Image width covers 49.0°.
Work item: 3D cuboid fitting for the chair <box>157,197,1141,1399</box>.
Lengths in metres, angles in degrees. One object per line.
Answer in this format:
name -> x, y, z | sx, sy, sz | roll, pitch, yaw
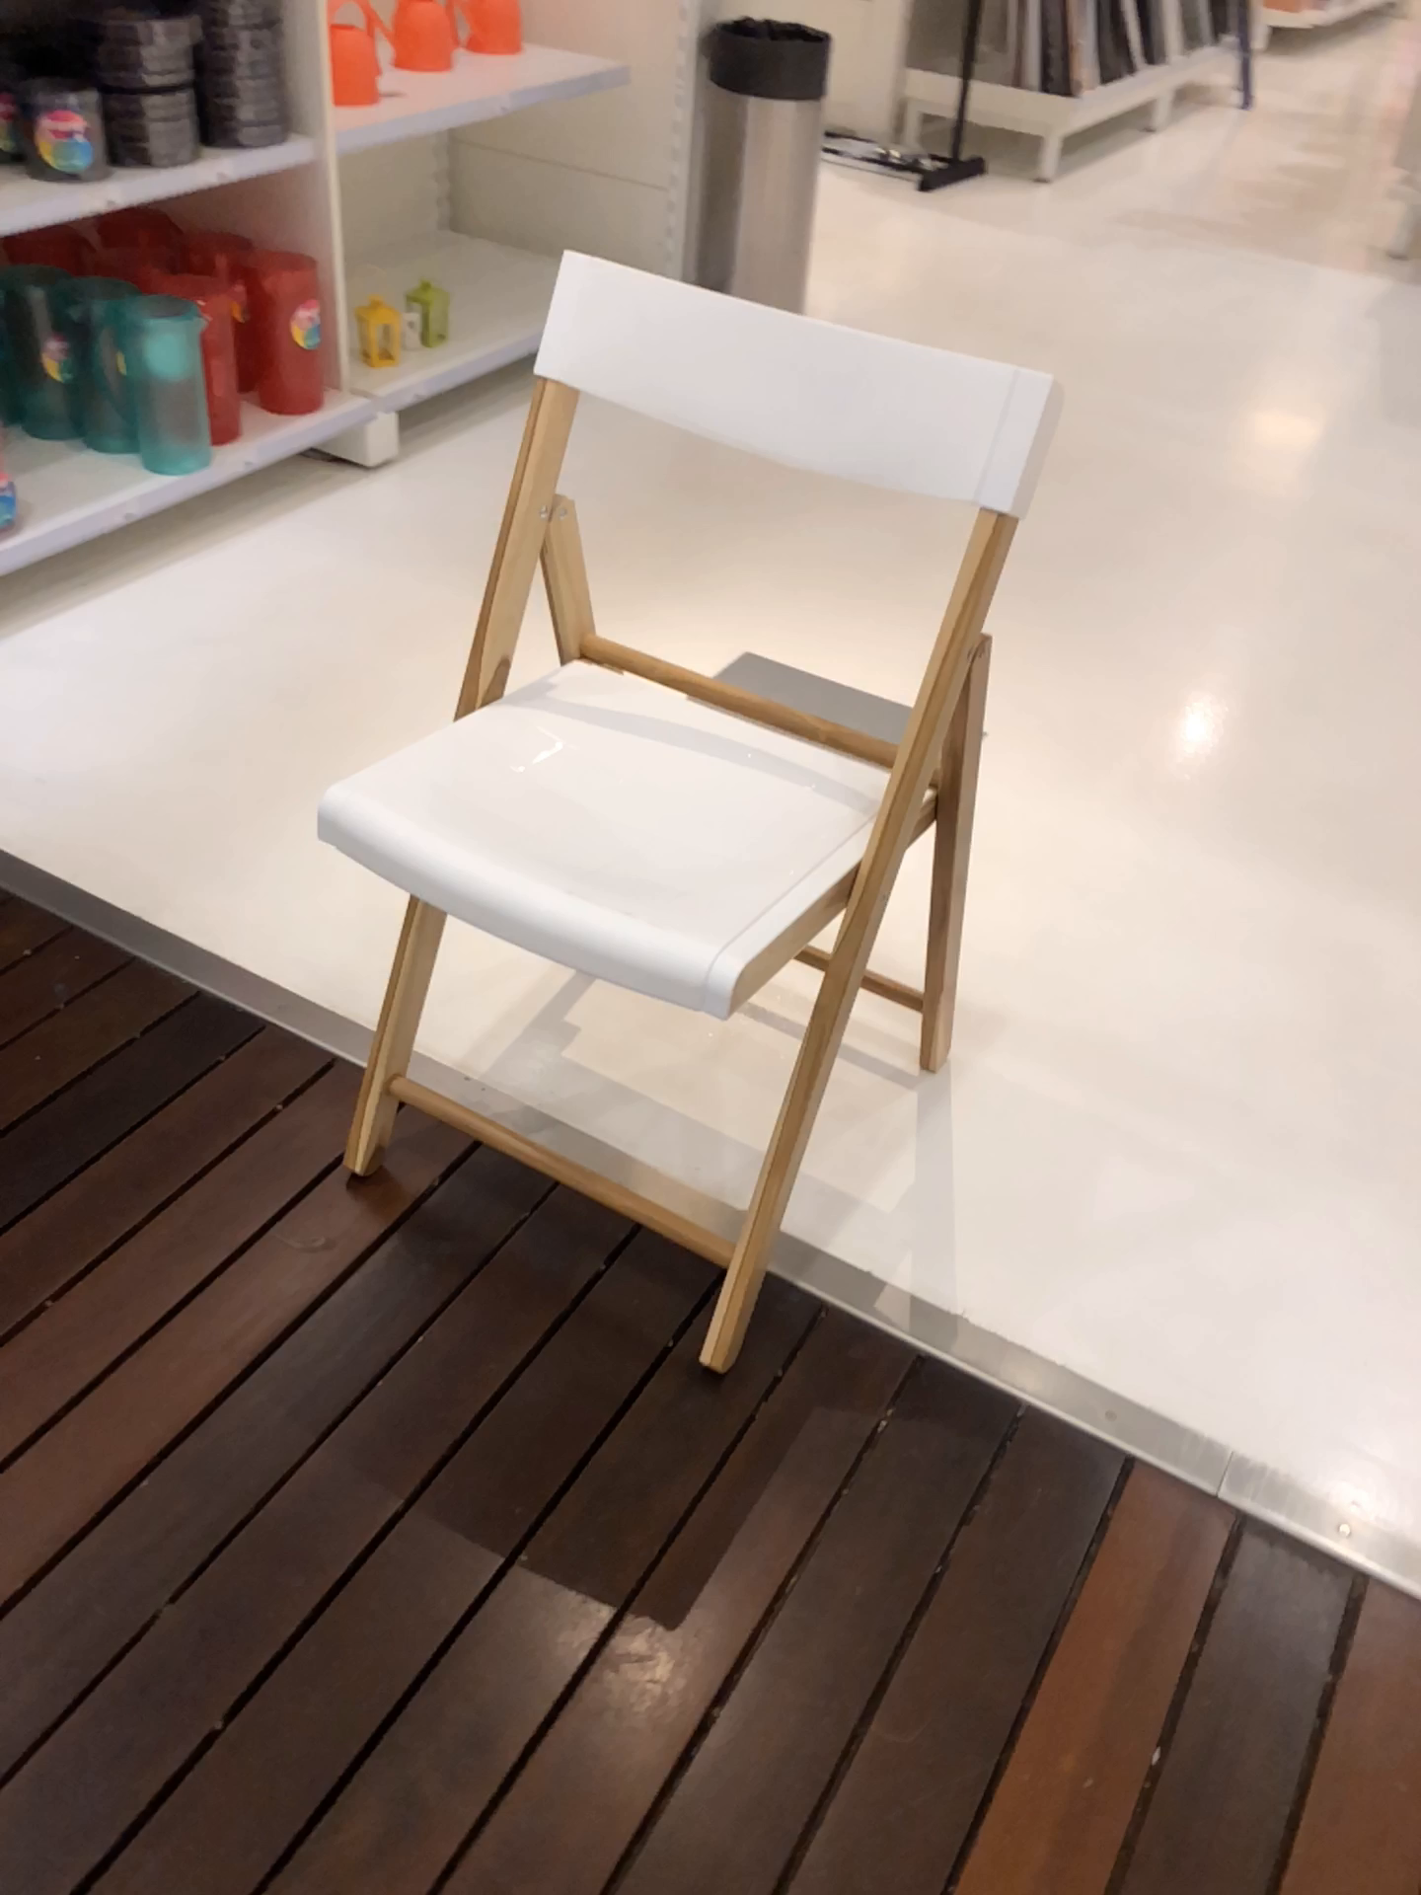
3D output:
chair -> -0.034, -0.134, 1.304 | 0.471, 0.734, 0.513 | 24, 44, 22
